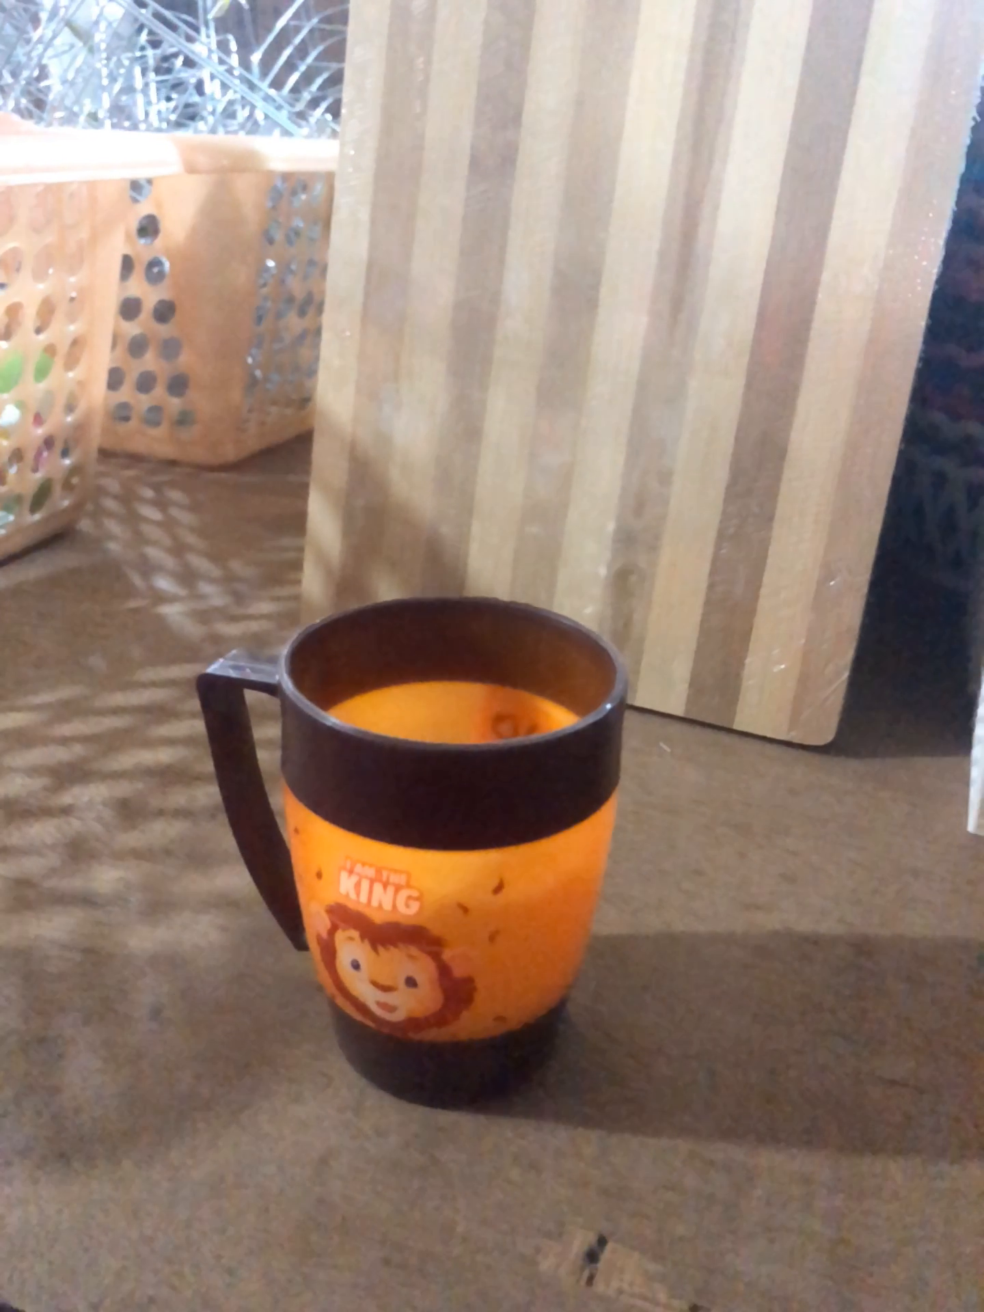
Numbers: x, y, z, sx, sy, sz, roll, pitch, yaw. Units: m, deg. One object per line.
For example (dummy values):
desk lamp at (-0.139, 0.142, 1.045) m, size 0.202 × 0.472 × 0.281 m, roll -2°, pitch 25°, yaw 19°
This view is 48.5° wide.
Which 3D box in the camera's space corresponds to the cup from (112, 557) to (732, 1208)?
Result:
cup at (-0.012, 0.040, 0.225) m, size 0.100 × 0.090 × 0.060 m, roll 12°, pitch 28°, yaw 21°
